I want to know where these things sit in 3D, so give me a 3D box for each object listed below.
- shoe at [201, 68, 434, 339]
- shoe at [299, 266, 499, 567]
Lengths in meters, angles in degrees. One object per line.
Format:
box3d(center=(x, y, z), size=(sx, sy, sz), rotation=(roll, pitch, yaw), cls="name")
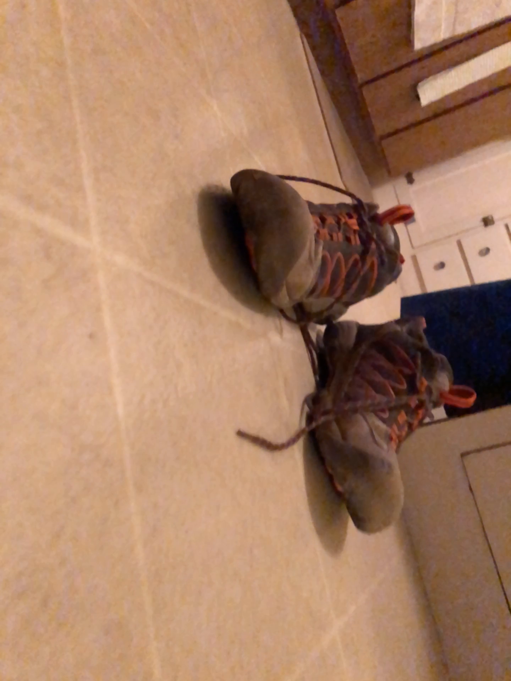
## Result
box3d(center=(0.081, -0.097, 0.538), size=(0.293, 0.121, 0.127), rotation=(19, 55, -67), cls="shoe")
box3d(center=(0.134, 0.056, 0.565), size=(0.283, 0.122, 0.127), rotation=(-75, 143, -58), cls="shoe")
